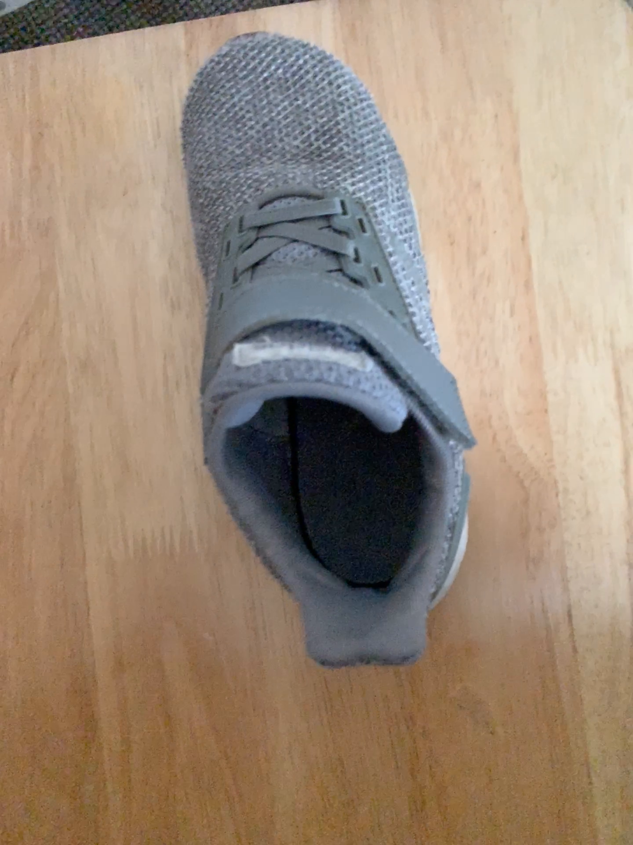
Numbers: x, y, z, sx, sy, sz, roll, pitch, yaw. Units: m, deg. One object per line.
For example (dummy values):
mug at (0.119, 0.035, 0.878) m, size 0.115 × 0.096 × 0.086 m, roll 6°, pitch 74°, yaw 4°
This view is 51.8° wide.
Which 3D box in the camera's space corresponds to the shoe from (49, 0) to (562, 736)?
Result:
shoe at (-0.004, -0.037, 0.207) m, size 0.090 × 0.080 × 0.220 m, roll -12°, pitch 86°, yaw 3°
